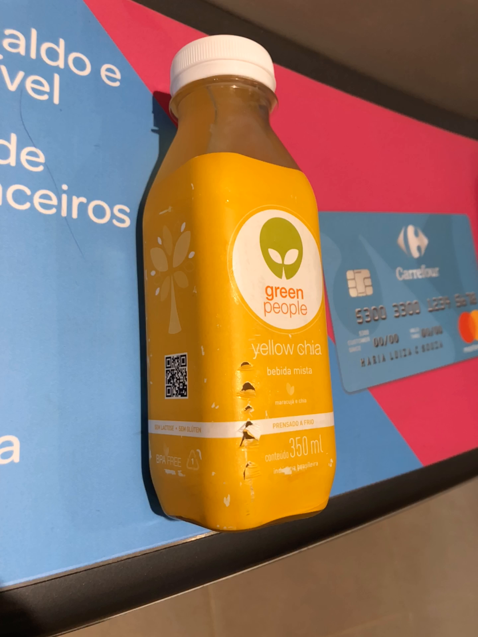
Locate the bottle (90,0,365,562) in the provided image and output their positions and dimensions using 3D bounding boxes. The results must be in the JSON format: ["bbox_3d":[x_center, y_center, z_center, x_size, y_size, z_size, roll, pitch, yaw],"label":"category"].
[{"bbox_3d":[-0.008,-0.021,0.194,0.060,0.060,0.180,0,82,-37],"label":"bottle"}]
